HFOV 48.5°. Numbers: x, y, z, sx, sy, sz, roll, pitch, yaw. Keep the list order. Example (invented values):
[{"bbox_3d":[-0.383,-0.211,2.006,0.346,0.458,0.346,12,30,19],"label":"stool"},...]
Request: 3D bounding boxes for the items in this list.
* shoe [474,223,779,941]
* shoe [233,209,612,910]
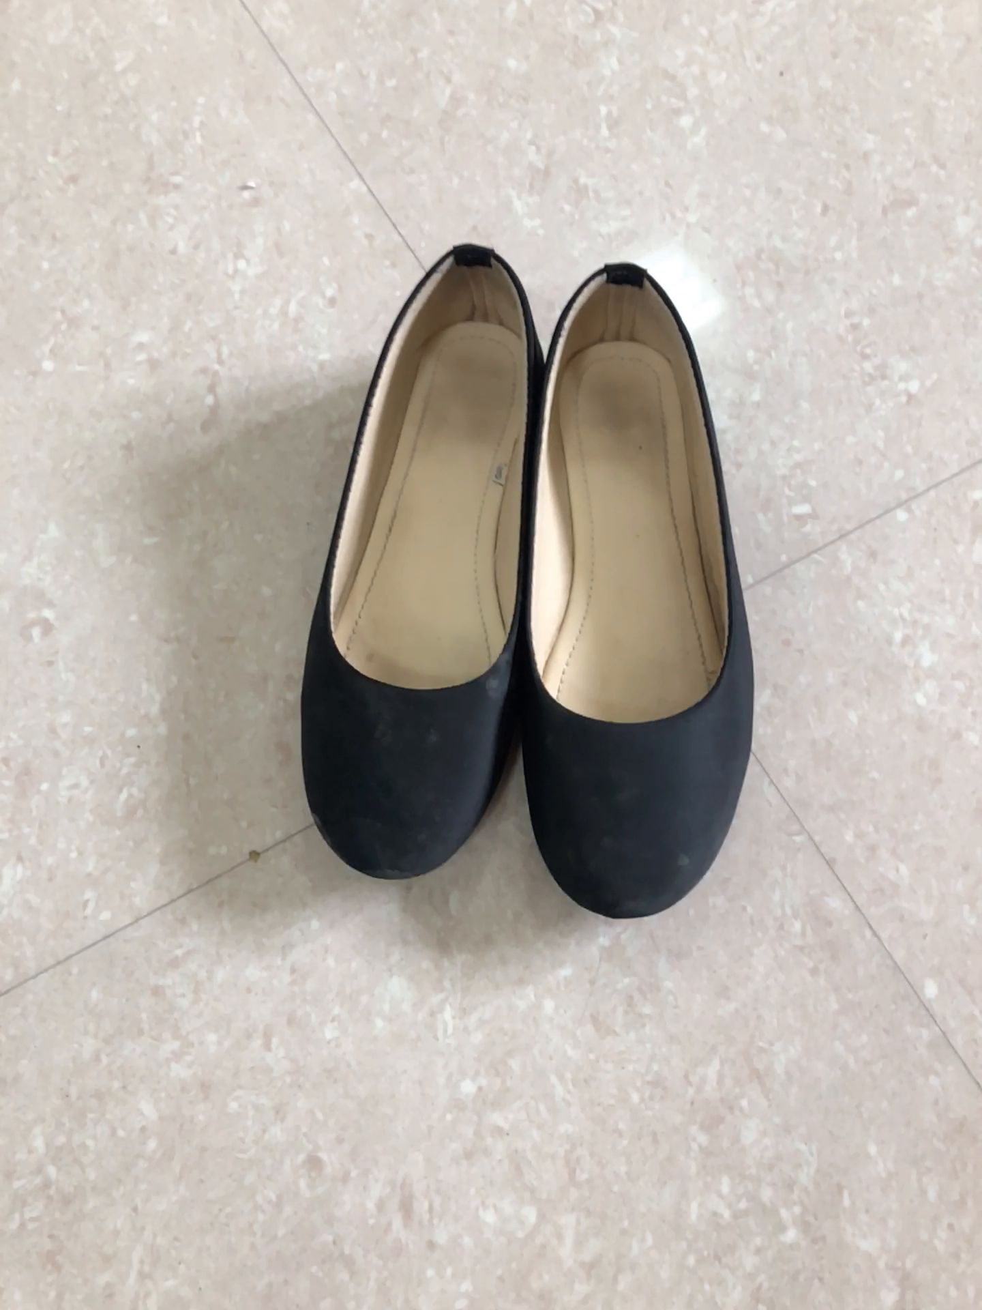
[{"bbox_3d":[0.048,-0.031,0.391,0.090,0.060,0.250,2,72,4],"label":"shoe"},{"bbox_3d":[-0.016,-0.040,0.409,0.090,0.060,0.250,7,72,7],"label":"shoe"}]
